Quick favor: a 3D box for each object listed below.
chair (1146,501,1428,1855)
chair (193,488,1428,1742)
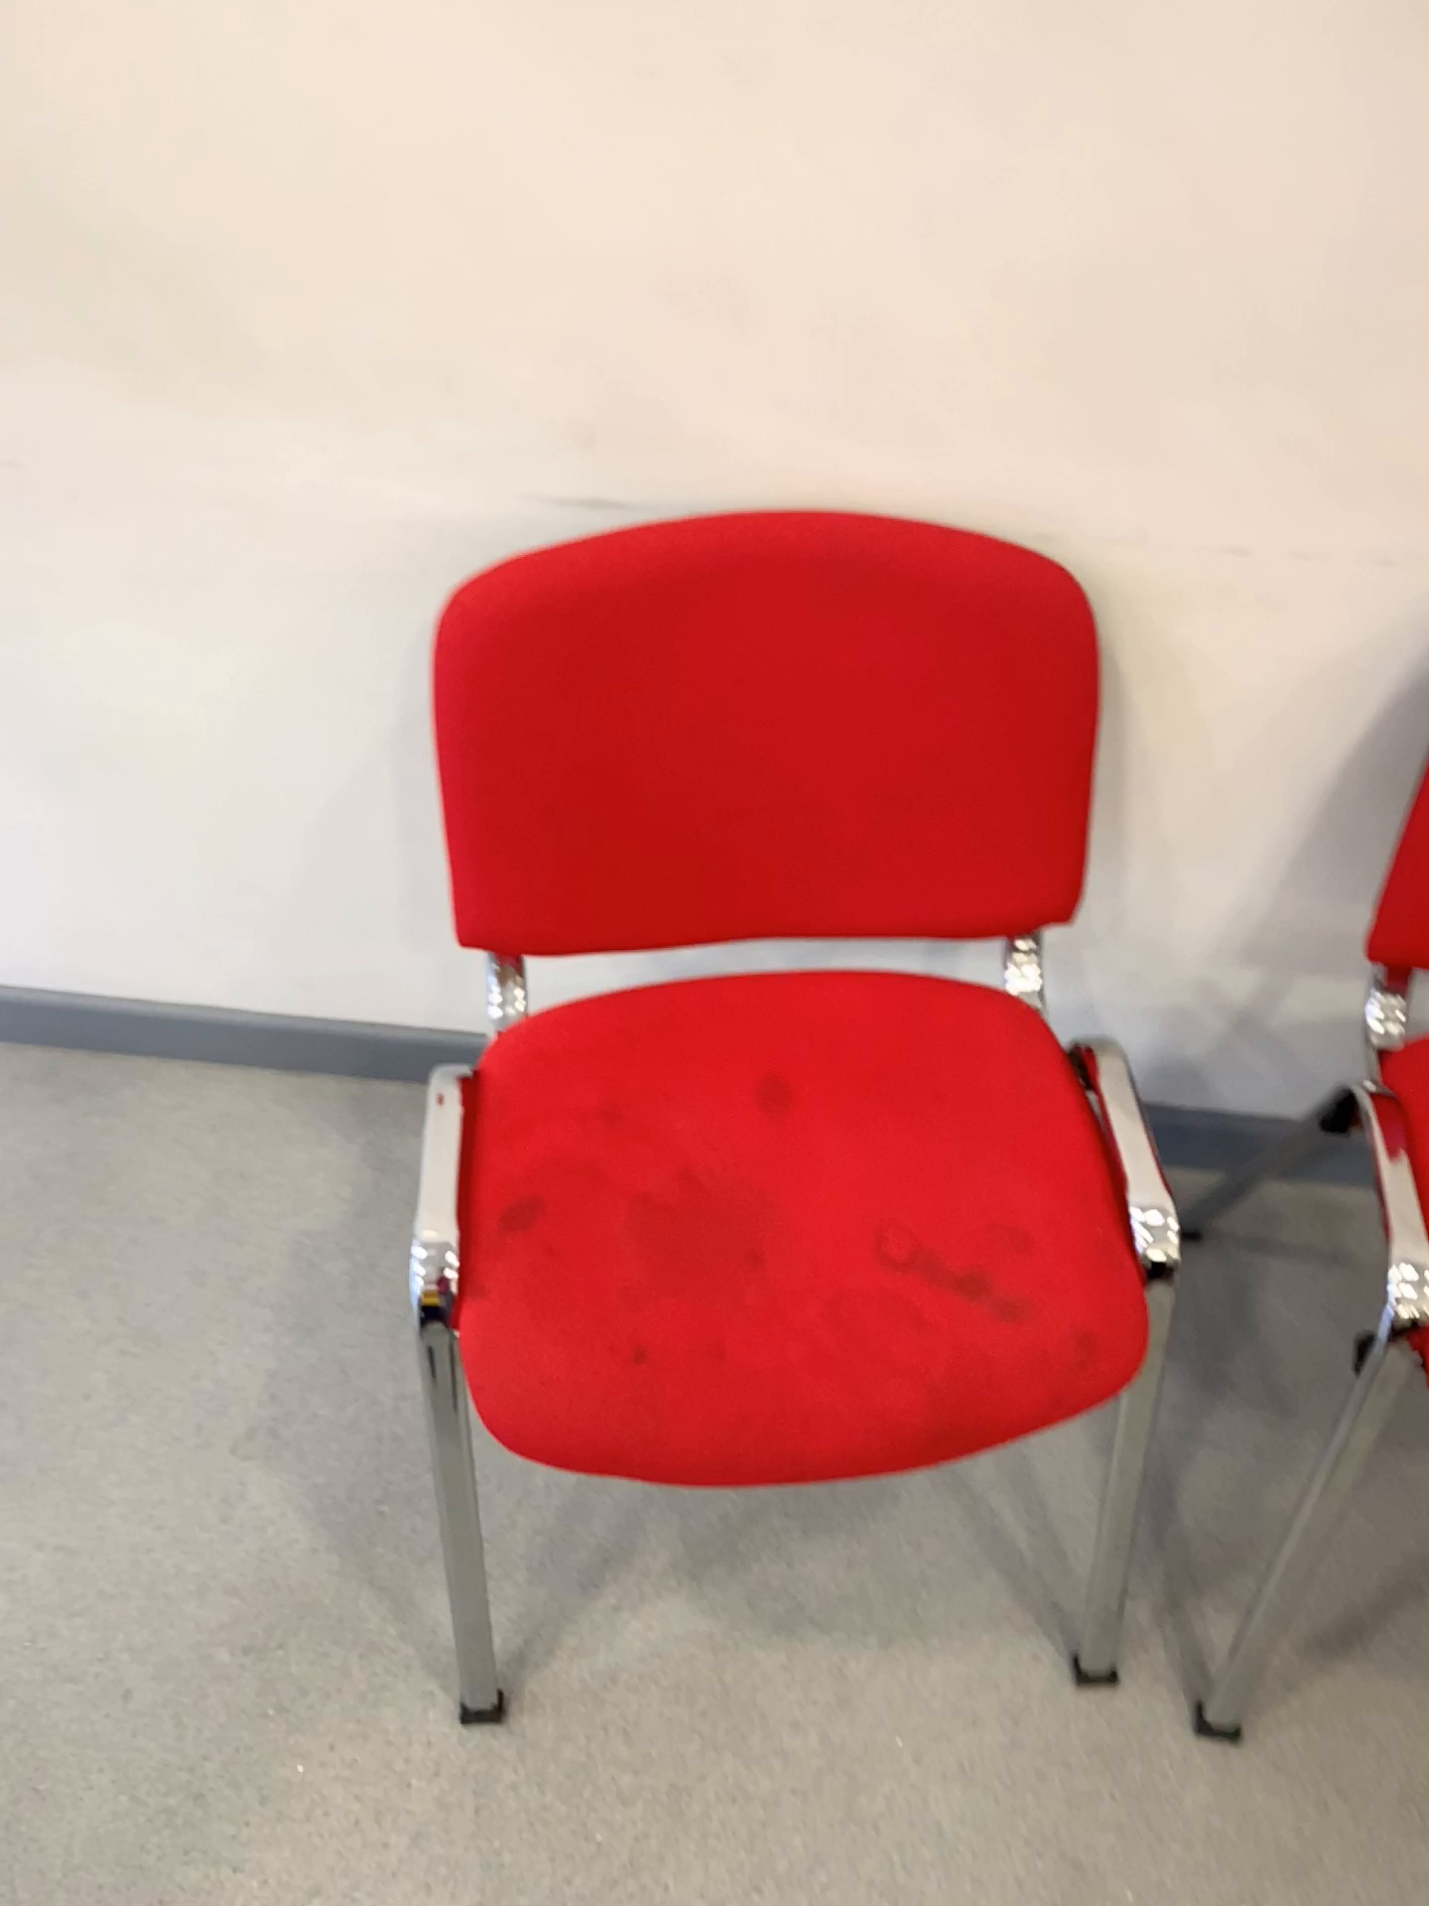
[{"bbox_3d":[0.707,0.203,1.079,0.567,0.793,0.593,6,50,6],"label":"chair"},{"bbox_3d":[0.053,0.157,1.149,0.597,0.753,0.633,-3,49,-2],"label":"chair"}]
